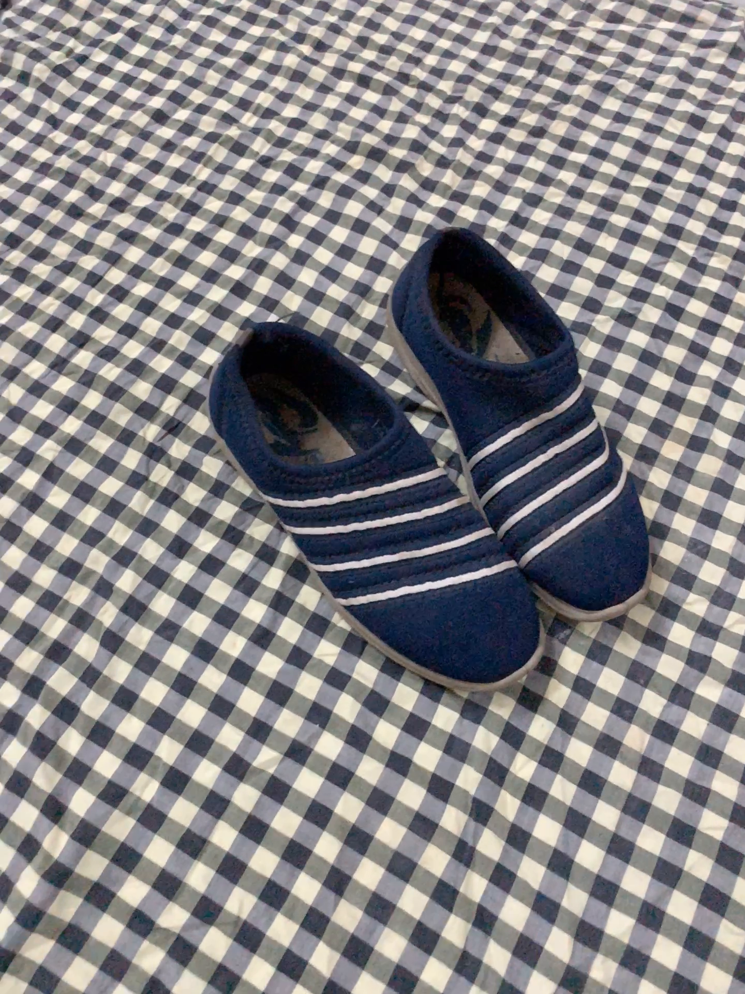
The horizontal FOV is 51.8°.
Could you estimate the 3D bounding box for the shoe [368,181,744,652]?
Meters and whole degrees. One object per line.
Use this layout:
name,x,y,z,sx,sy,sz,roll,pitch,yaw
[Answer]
shoe,0.092,-0.050,0.458,0.090,0.100,0.251,-24,69,-8

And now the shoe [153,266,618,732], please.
shoe,0.000,-0.001,0.429,0.090,0.090,0.251,-40,72,-14
